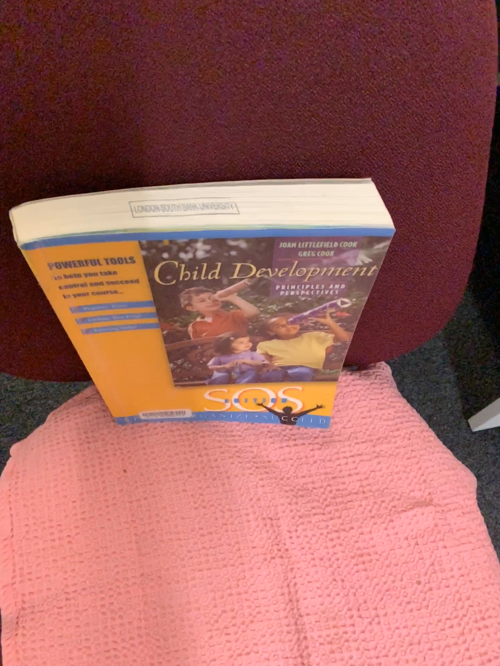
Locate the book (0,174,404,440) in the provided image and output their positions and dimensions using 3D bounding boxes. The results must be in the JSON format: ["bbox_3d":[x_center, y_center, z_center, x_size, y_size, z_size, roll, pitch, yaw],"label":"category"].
[{"bbox_3d":[-0.031,0.003,0.396,0.225,0.258,0.050,-3,56,-2],"label":"book"}]
